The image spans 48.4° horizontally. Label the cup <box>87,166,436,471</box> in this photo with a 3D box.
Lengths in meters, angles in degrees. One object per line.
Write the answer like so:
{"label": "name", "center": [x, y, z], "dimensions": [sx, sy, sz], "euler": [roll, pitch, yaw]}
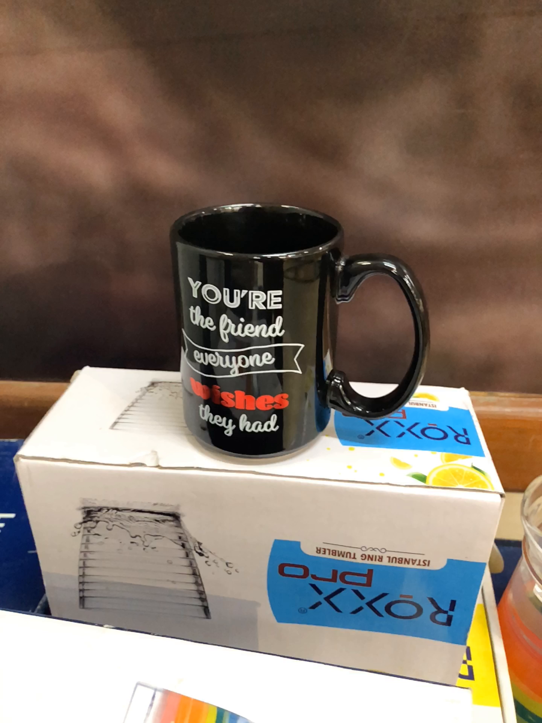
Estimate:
{"label": "cup", "center": [0.004, -0.026, 0.284], "dimensions": [0.130, 0.109, 0.091], "euler": [2, 27, 11]}
